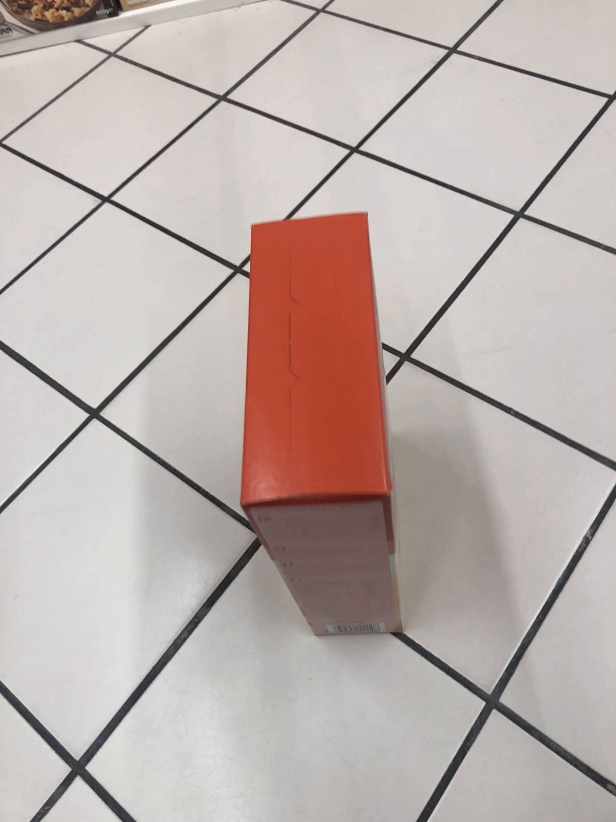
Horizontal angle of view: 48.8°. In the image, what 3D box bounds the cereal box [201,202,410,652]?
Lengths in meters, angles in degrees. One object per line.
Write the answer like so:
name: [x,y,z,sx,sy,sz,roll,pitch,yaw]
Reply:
cereal box: [0.012,0.030,0.409,0.080,0.239,0.171,-5,59,6]
